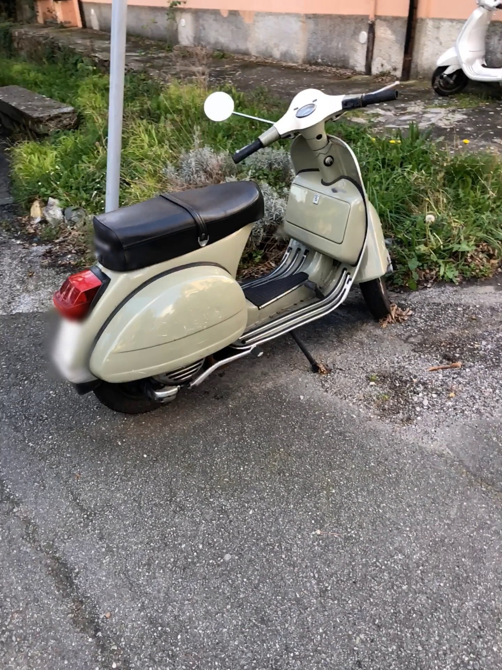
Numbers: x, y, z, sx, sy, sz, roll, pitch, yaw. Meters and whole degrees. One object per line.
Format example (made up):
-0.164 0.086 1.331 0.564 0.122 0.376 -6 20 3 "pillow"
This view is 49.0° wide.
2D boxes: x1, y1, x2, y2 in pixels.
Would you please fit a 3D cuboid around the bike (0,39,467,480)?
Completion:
0.007 -0.386 2.070 1.444 1.027 0.623 -27 41 -29 "bike"
